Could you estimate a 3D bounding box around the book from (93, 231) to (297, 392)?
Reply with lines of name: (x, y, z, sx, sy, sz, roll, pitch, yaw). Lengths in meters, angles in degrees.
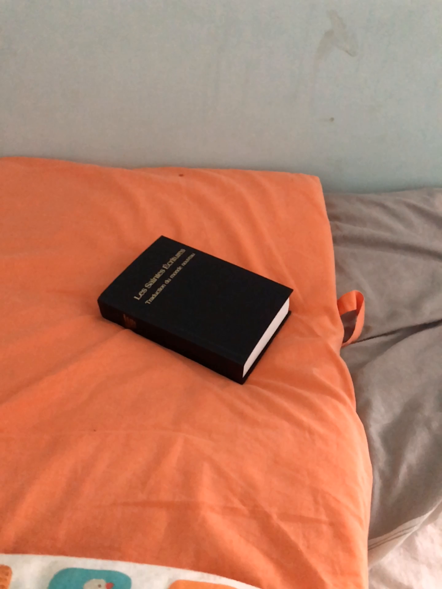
book: (-0.026, 0.009, 0.525, 0.173, 0.030, 0.127, 25, 51, 18)
